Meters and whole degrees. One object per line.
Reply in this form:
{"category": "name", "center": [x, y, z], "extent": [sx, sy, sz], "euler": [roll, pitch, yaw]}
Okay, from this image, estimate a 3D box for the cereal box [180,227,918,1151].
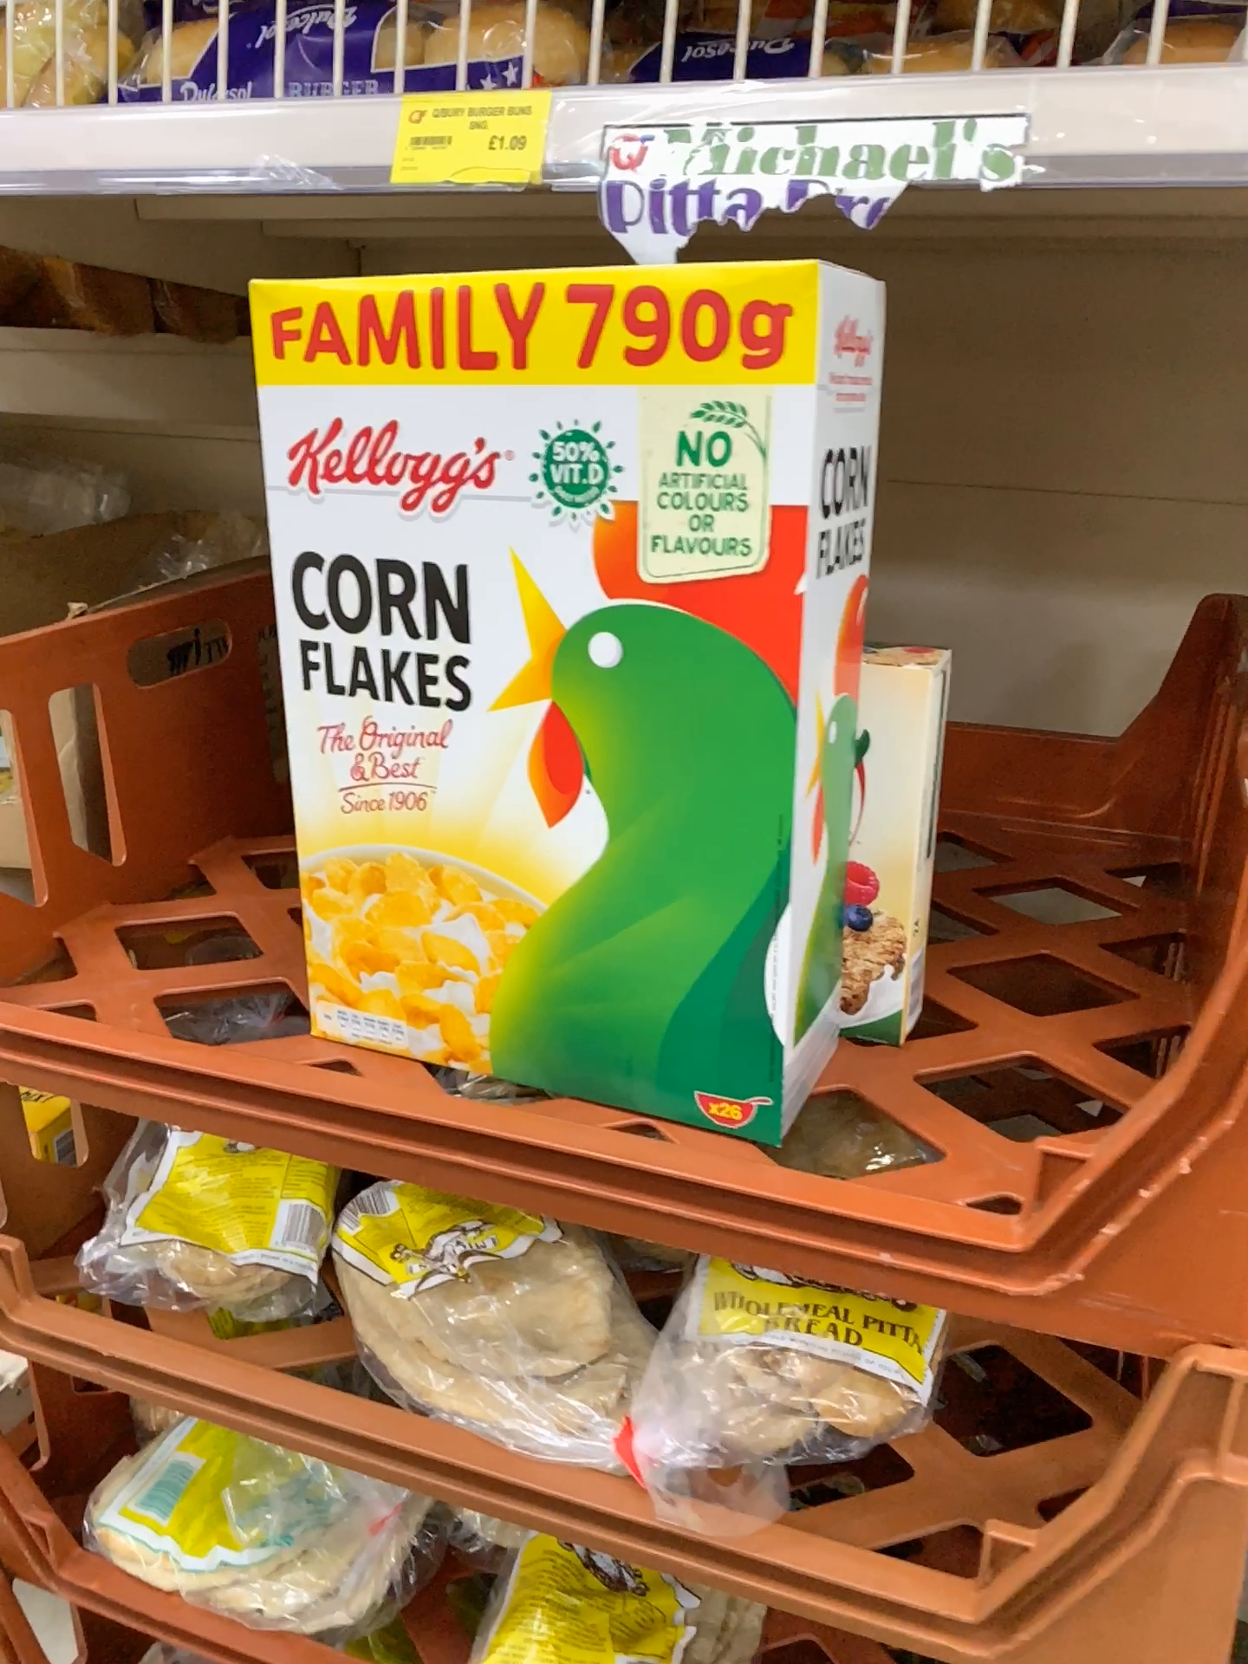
{"category": "cereal box", "center": [-0.033, -0.065, 0.546], "extent": [0.270, 0.338, 0.091], "euler": [9, 21, 21]}
